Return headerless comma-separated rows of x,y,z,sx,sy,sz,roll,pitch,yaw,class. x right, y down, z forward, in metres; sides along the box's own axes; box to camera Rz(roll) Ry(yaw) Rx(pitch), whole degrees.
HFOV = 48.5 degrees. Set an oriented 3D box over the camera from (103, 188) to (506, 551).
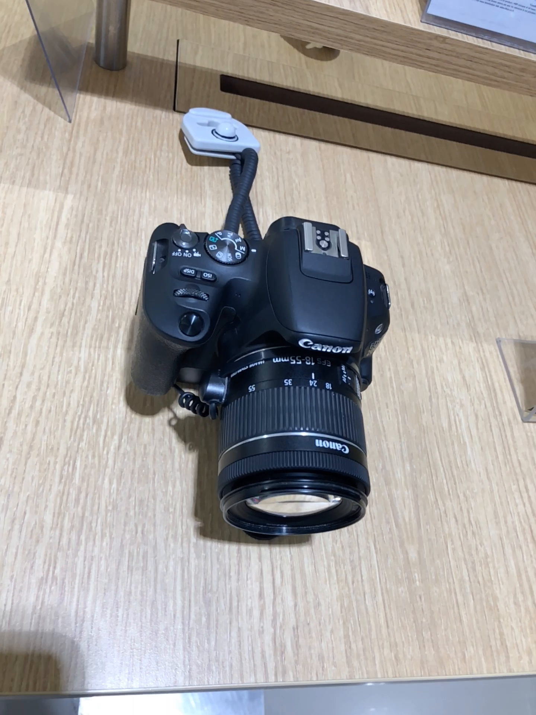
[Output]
0.006,0.011,0.250,0.130,0.080,0.115,7,57,-14,camera
